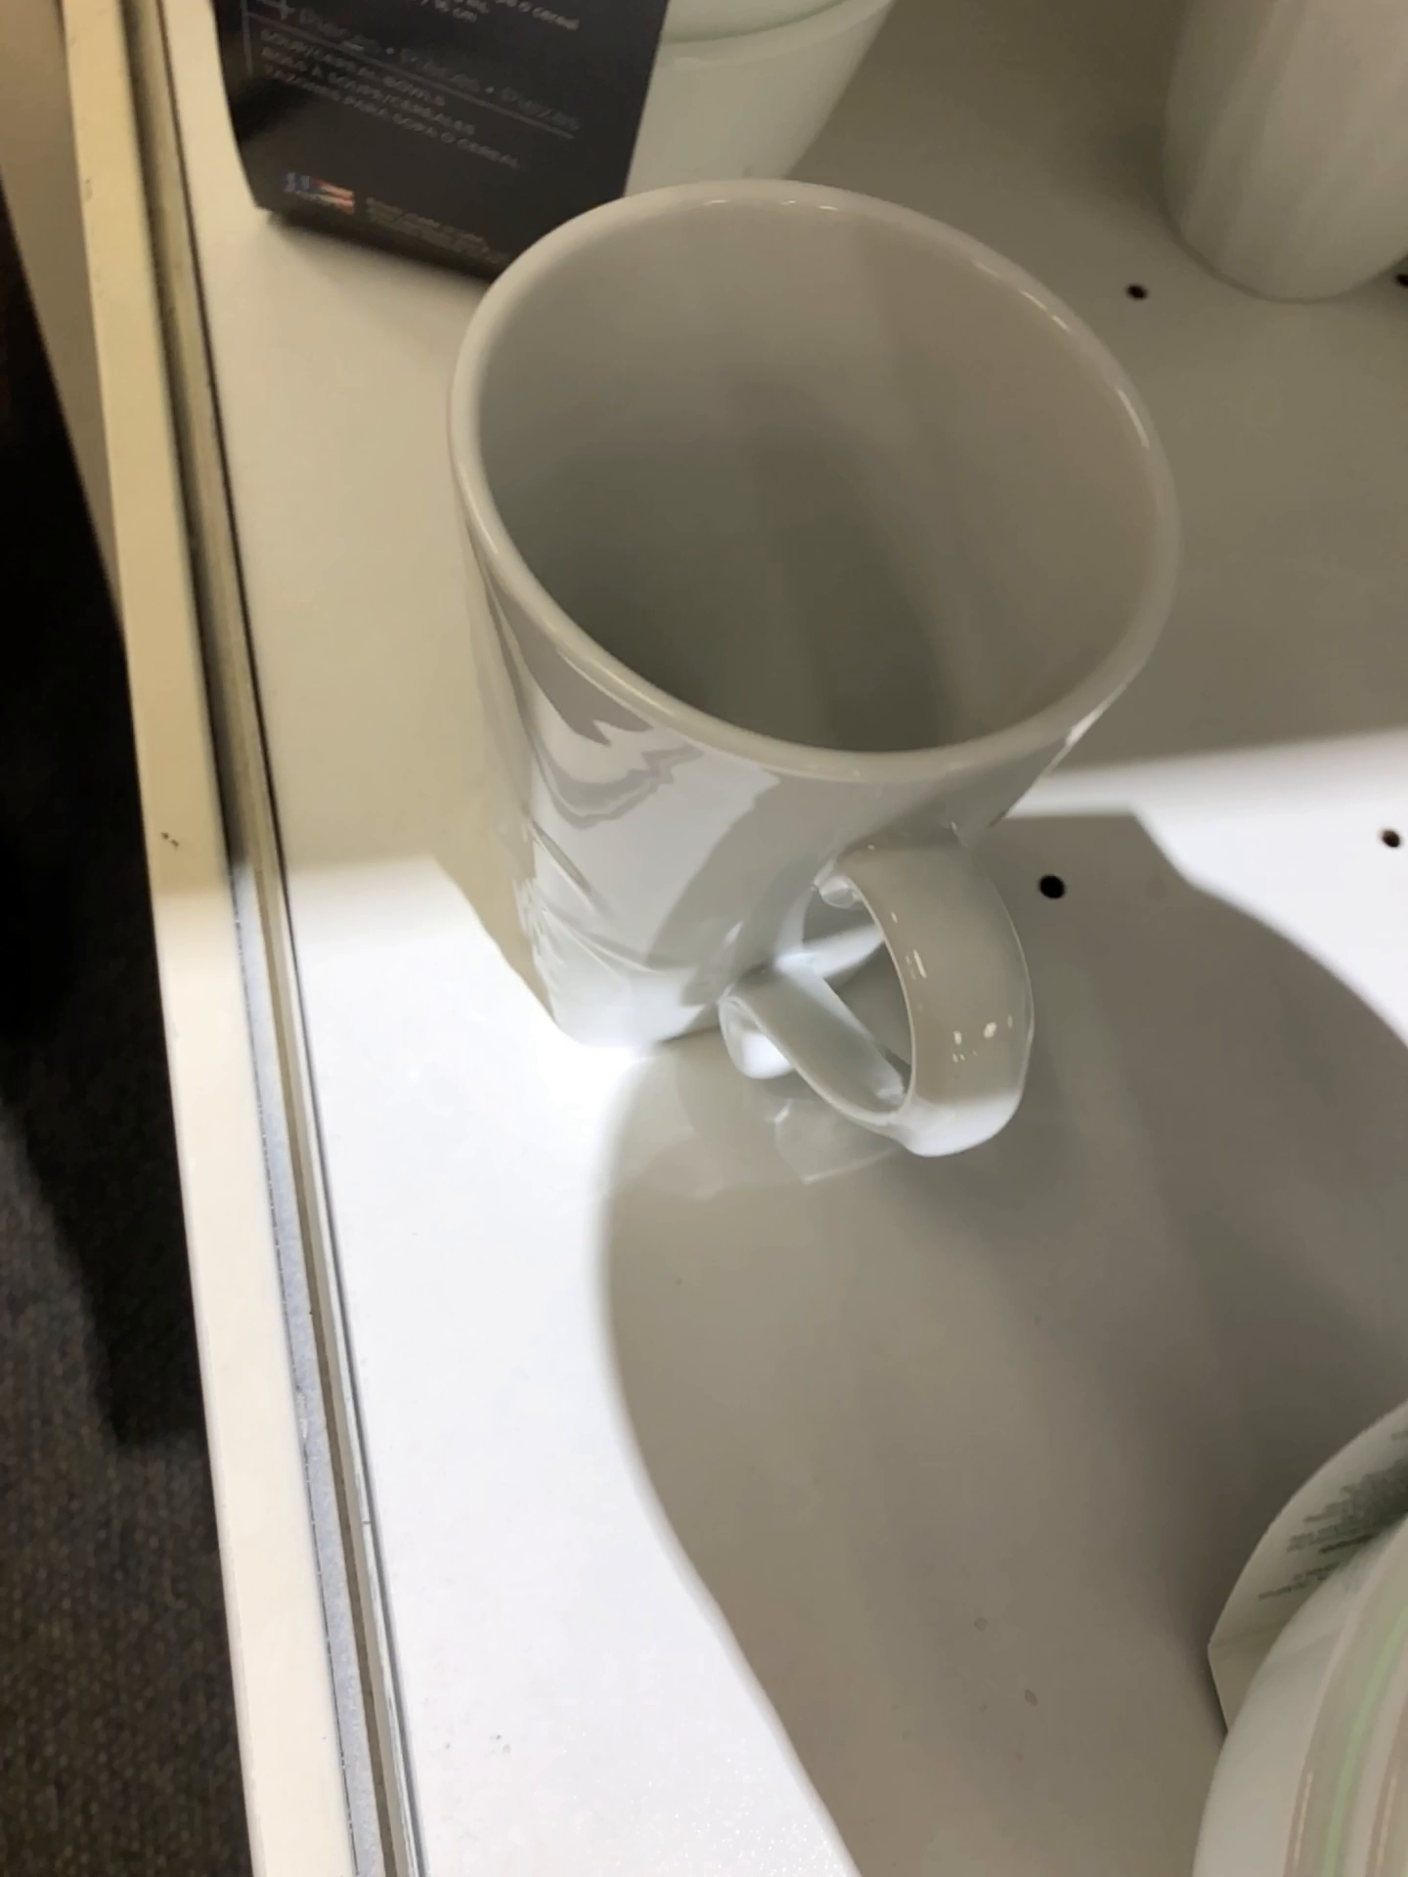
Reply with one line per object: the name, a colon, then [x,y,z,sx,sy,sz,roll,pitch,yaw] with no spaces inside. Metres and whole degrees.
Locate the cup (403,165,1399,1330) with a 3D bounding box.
cup: [0.009,-0.021,0.226,0.086,0.113,0.115,-8,66,-14]
